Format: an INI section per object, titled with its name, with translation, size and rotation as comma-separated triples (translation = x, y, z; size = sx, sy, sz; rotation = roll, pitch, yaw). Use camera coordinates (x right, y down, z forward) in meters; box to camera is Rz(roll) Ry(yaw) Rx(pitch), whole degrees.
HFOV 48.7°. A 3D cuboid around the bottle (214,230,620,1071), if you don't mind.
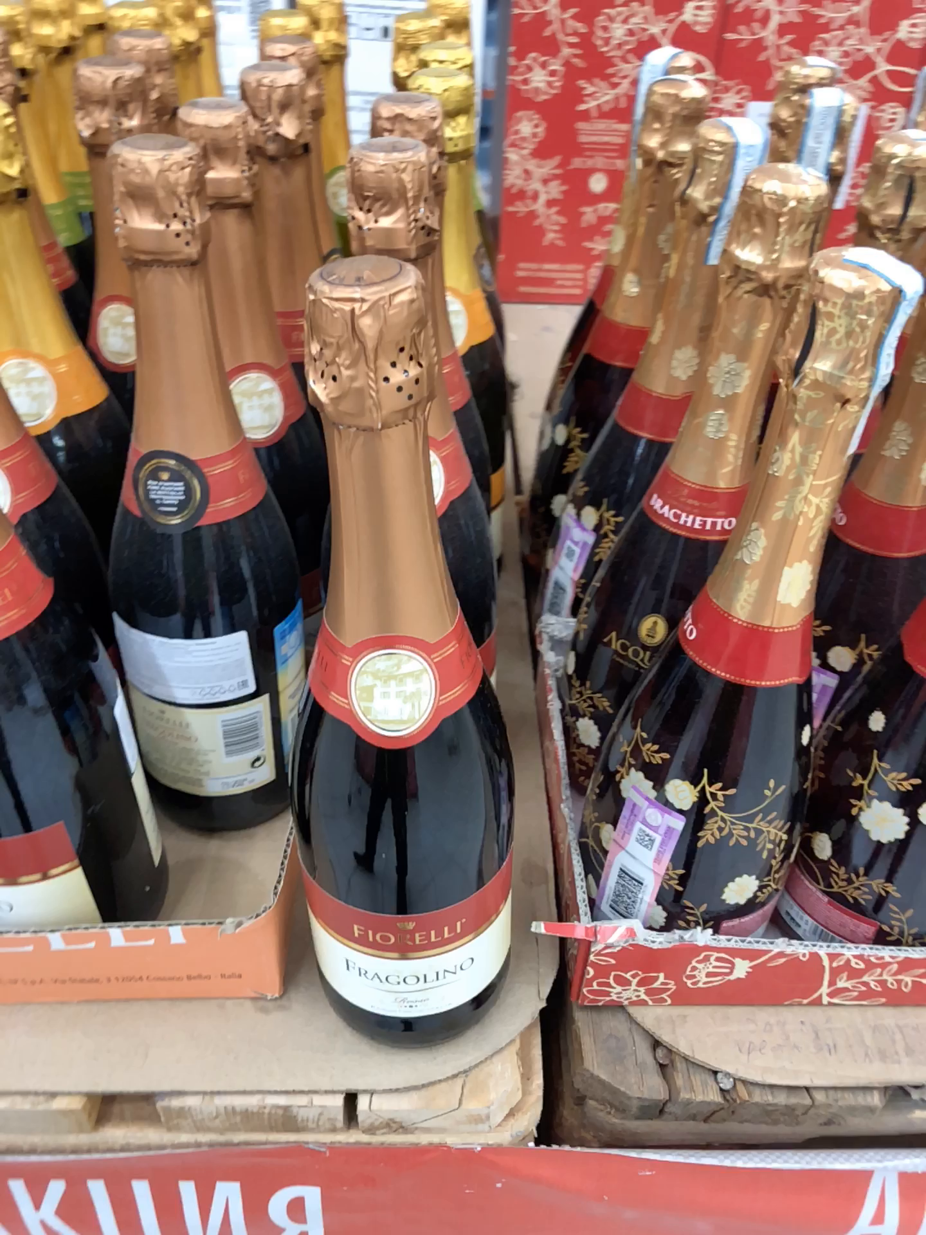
[bottle]
translation = -0.017, 0.034, 0.354
size = 0.090, 0.298, 0.091
rotation = 2, 37, -1
